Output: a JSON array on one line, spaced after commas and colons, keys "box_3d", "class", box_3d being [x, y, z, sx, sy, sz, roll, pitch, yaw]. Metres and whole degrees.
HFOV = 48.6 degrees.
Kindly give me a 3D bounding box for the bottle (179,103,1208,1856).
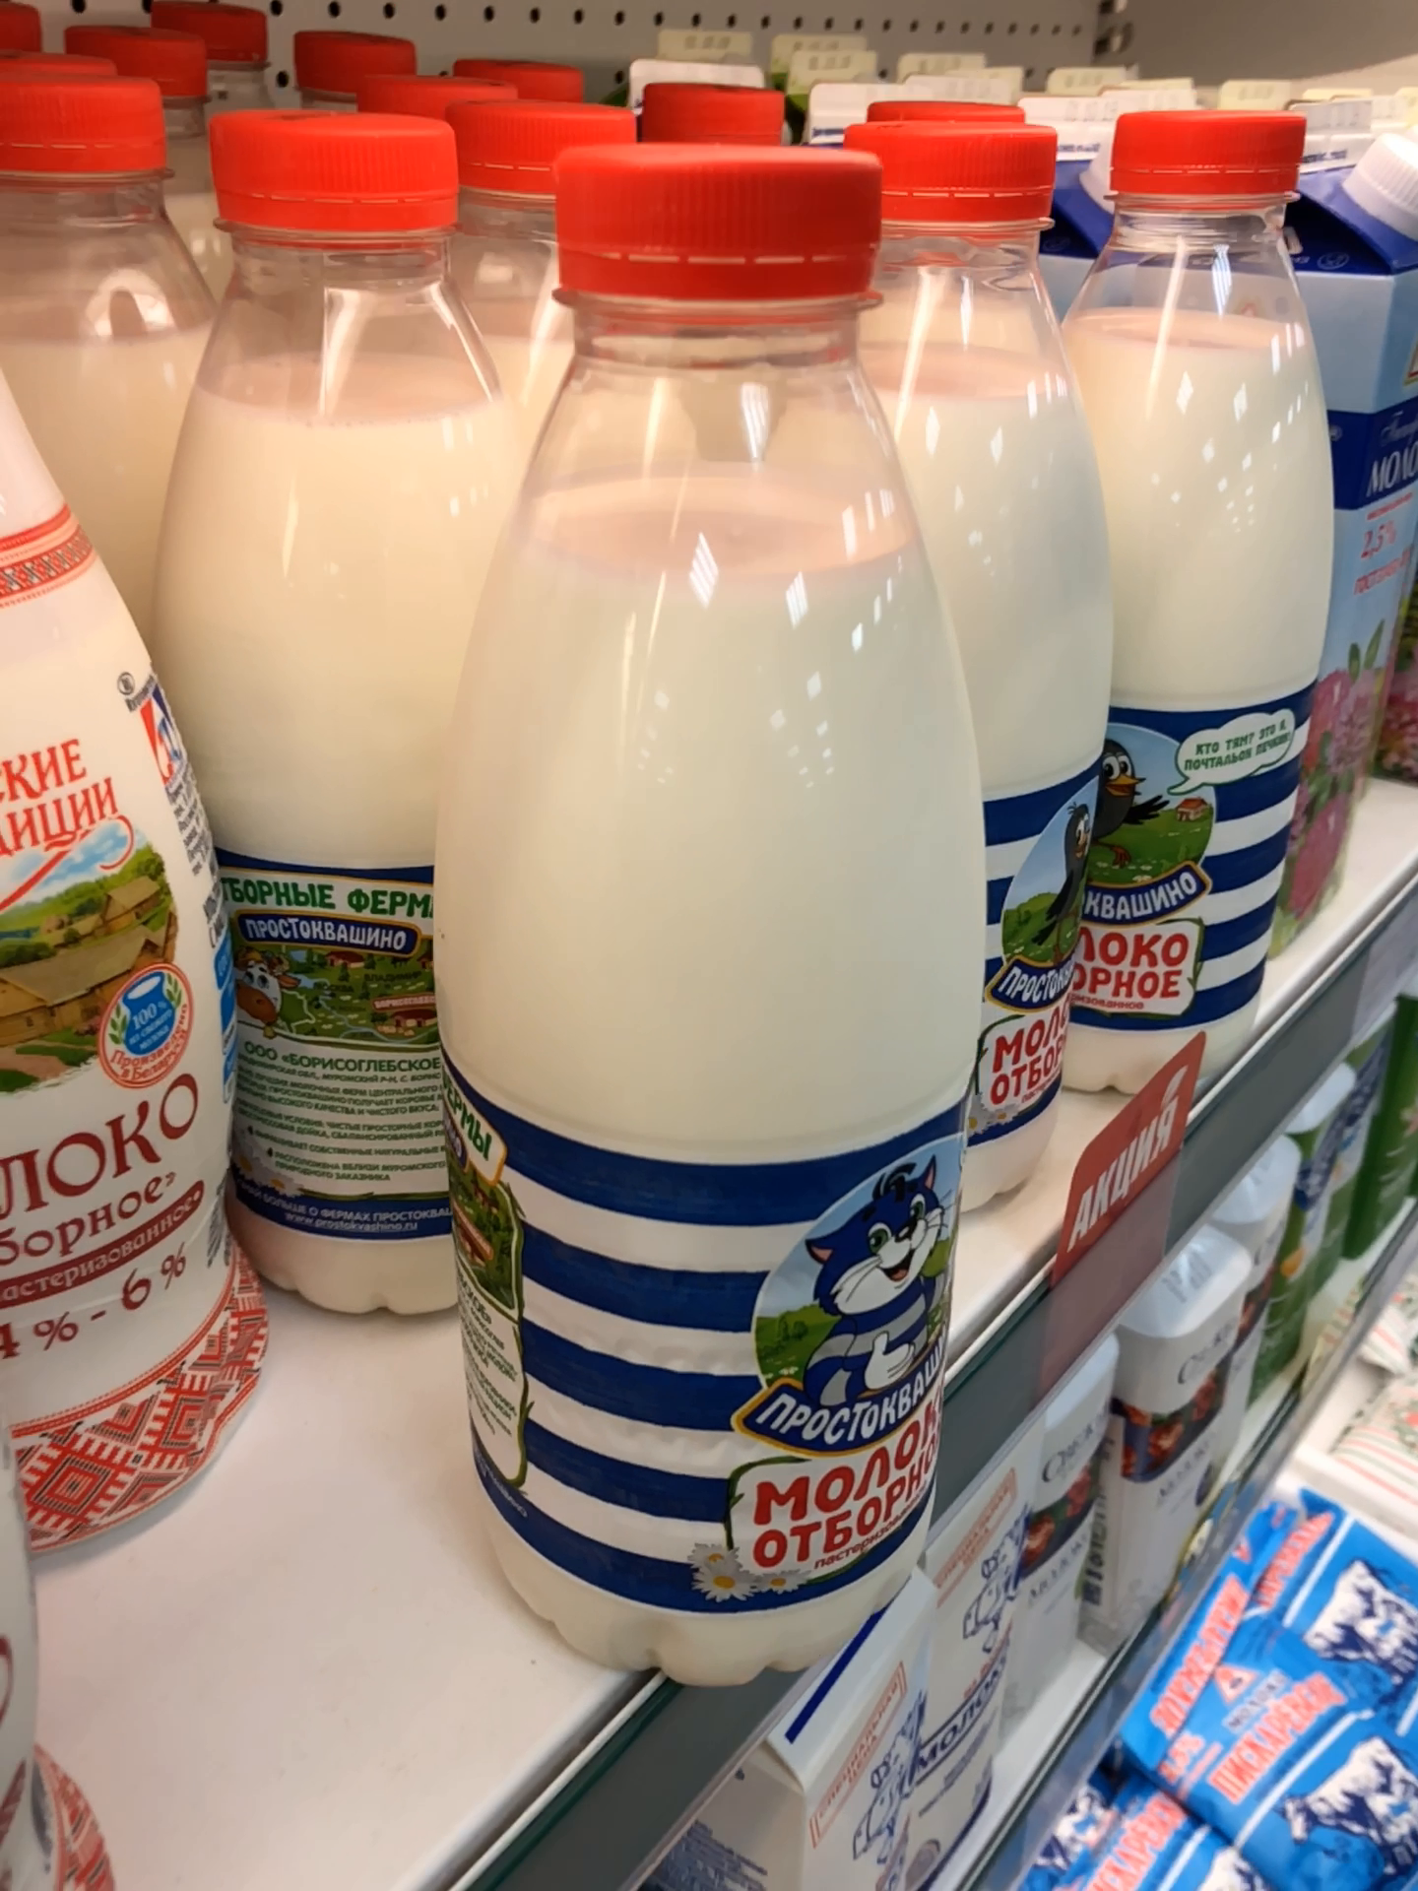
[{"box_3d": [0.001, 0.005, 0.235, 0.090, 0.228, 0.080, -22, 33, -35], "class": "bottle"}]
